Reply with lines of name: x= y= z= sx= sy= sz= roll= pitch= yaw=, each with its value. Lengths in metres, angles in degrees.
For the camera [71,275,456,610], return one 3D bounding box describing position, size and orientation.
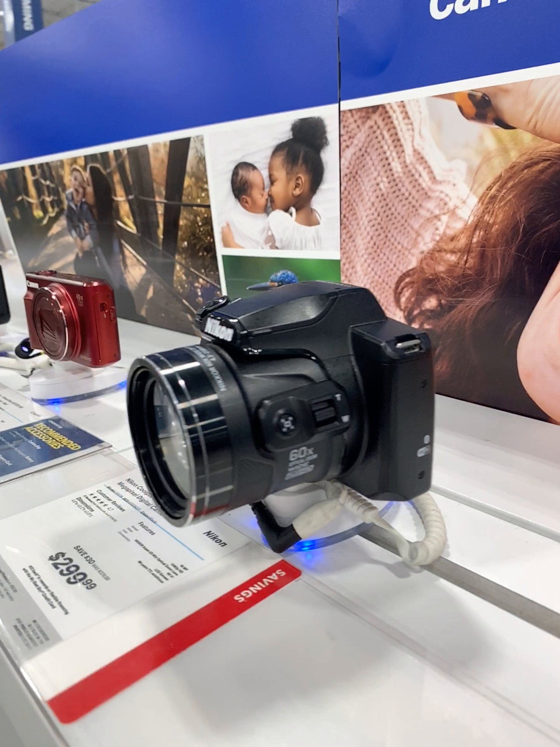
camera: x=-0.013 y=0.010 z=0.237 sx=0.100 sy=0.080 sz=0.120 roll=-12 pitch=20 yaw=-33
